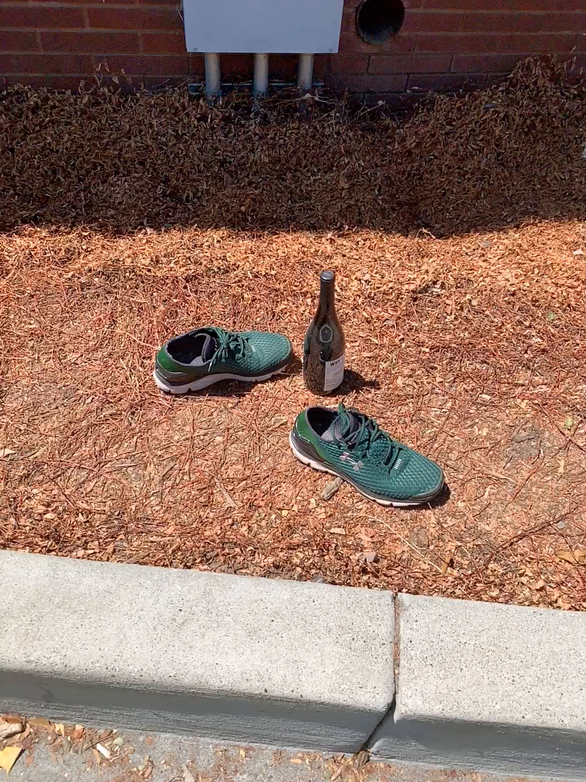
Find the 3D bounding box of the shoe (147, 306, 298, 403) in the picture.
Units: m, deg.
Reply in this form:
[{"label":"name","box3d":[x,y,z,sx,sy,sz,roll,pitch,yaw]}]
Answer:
[{"label":"shoe","box3d":[-0.148,-0.081,1.266,0.290,0.099,0.121,-12,52,-14]}]

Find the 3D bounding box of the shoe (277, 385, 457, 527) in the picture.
[{"label":"shoe","box3d":[0.130,0.115,1.092,0.290,0.099,0.120,22,51,14]}]
